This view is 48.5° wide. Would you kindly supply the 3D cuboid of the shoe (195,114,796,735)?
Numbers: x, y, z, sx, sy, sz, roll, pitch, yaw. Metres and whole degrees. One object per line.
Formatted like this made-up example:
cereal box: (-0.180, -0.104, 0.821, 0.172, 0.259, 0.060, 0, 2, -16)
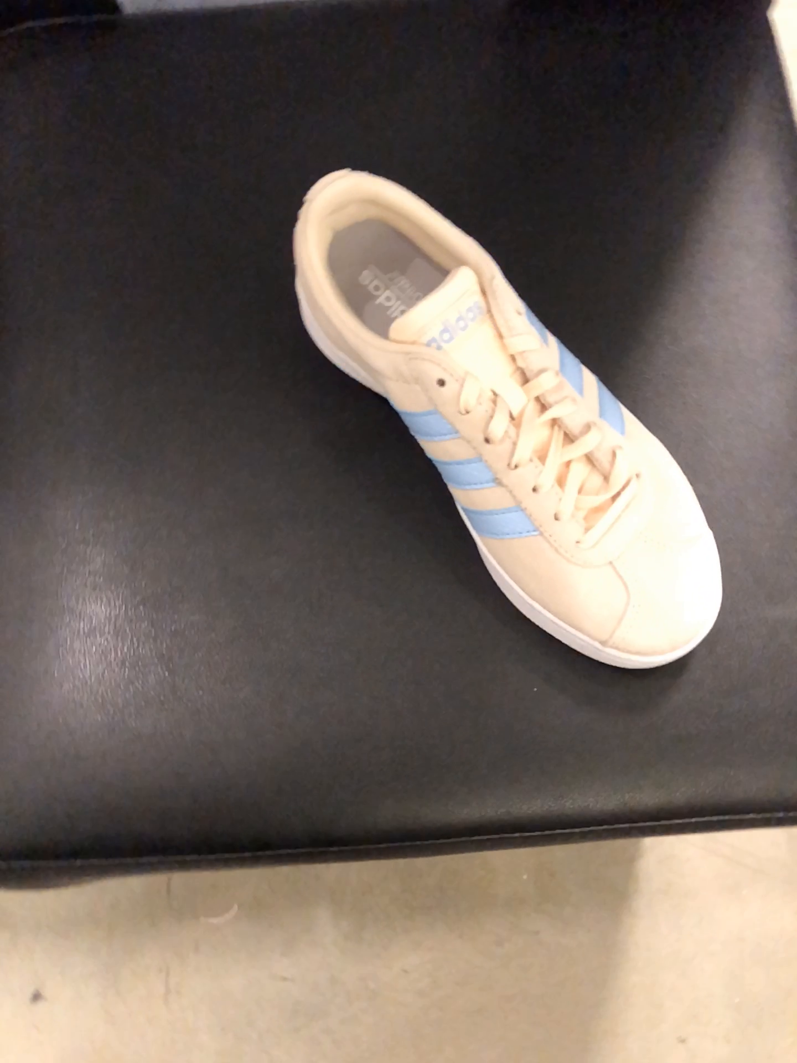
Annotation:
shoe: (0.041, -0.045, 0.391, 0.100, 0.090, 0.260, -42, 78, -12)
